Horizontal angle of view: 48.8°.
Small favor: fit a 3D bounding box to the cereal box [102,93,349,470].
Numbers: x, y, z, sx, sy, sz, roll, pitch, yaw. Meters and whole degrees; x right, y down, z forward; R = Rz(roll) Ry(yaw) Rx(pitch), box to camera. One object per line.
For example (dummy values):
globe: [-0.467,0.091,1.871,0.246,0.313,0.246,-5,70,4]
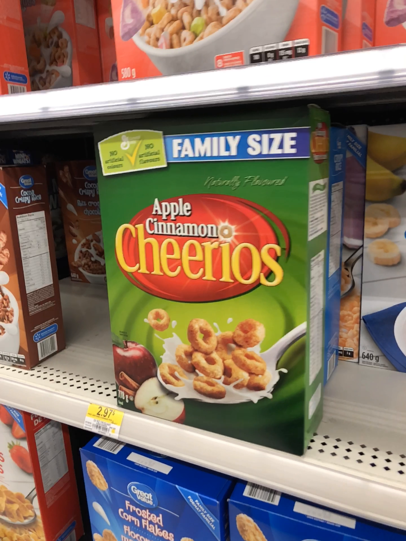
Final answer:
cereal box: [0.027,0.007,0.505,0.240,0.358,0.090,5,16,28]
